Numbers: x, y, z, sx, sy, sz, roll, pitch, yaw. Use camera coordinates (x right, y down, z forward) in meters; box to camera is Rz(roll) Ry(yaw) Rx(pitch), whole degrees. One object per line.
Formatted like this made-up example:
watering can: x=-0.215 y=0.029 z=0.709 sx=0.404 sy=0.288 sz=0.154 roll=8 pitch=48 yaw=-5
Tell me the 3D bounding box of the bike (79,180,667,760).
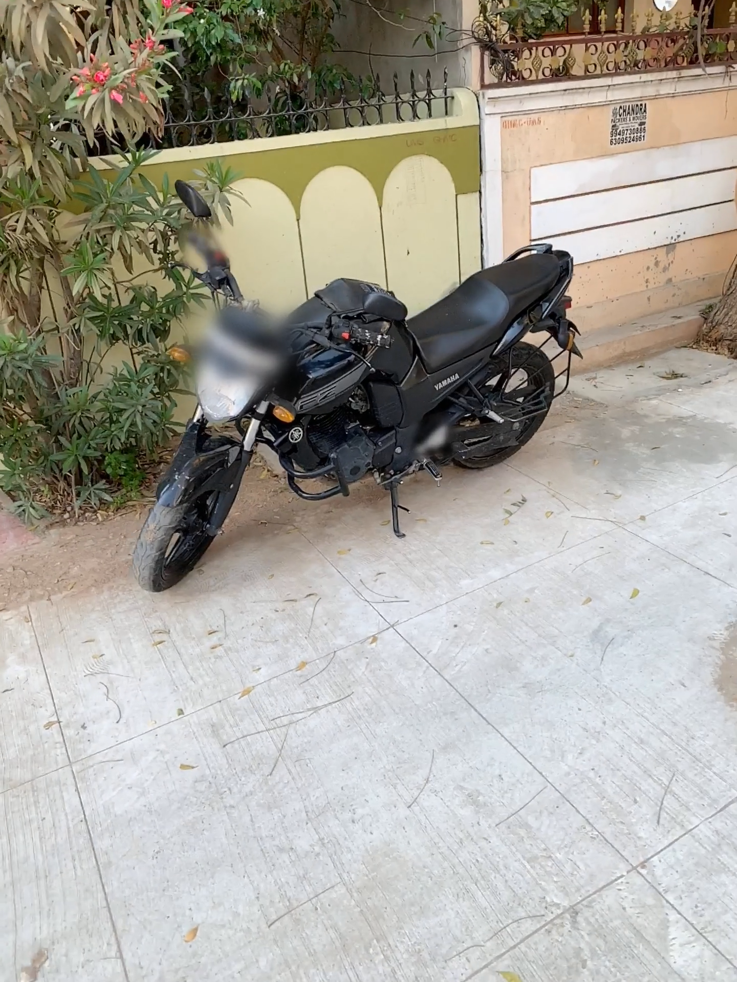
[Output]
bike: x=0.083 y=-0.228 z=2.448 sx=1.684 sy=1.076 sz=0.749 roll=-24 pitch=31 yaw=-24
